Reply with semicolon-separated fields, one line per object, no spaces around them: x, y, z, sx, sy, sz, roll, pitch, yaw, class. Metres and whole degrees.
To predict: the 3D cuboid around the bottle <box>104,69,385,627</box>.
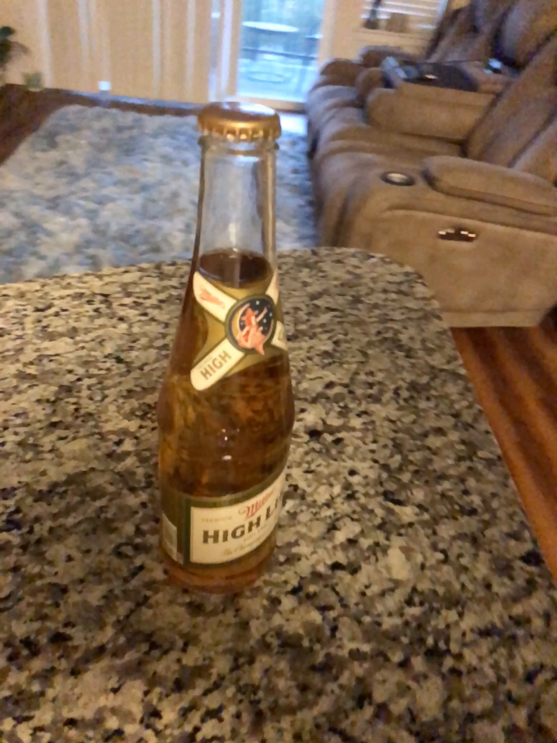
-0.023;0.003;0.266;0.060;0.229;0.070;-25;47;-37;bottle
